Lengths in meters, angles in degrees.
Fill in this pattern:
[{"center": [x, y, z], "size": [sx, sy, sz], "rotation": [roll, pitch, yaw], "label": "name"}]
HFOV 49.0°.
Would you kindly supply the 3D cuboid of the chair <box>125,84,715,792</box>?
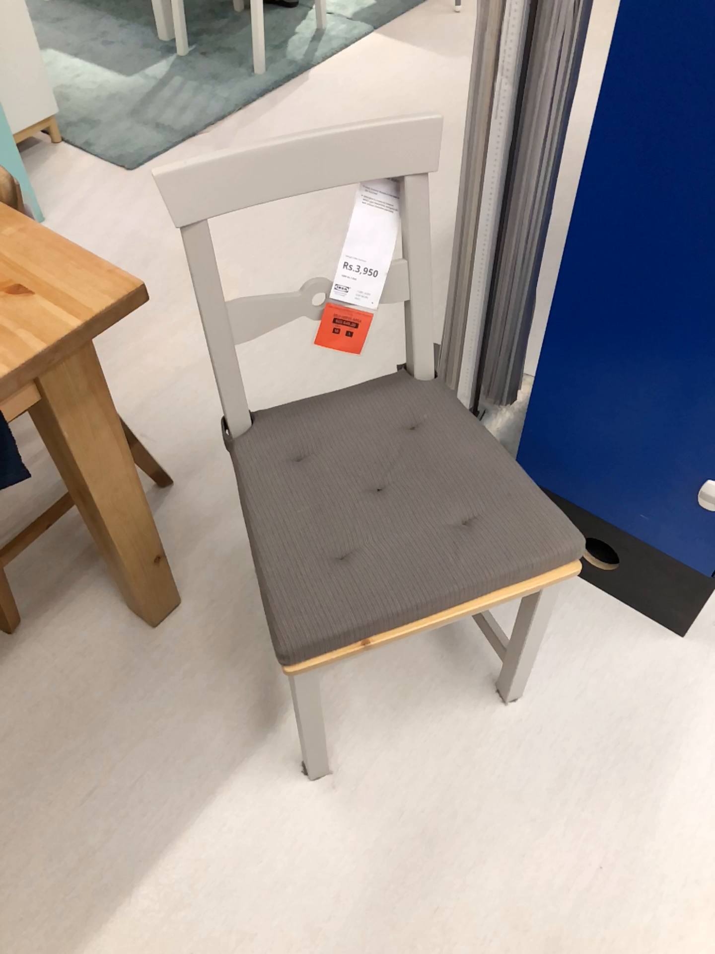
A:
[{"center": [0.037, -0.005, 1.065], "size": [0.430, 0.765, 0.472], "rotation": [-18, 53, -13], "label": "chair"}]
